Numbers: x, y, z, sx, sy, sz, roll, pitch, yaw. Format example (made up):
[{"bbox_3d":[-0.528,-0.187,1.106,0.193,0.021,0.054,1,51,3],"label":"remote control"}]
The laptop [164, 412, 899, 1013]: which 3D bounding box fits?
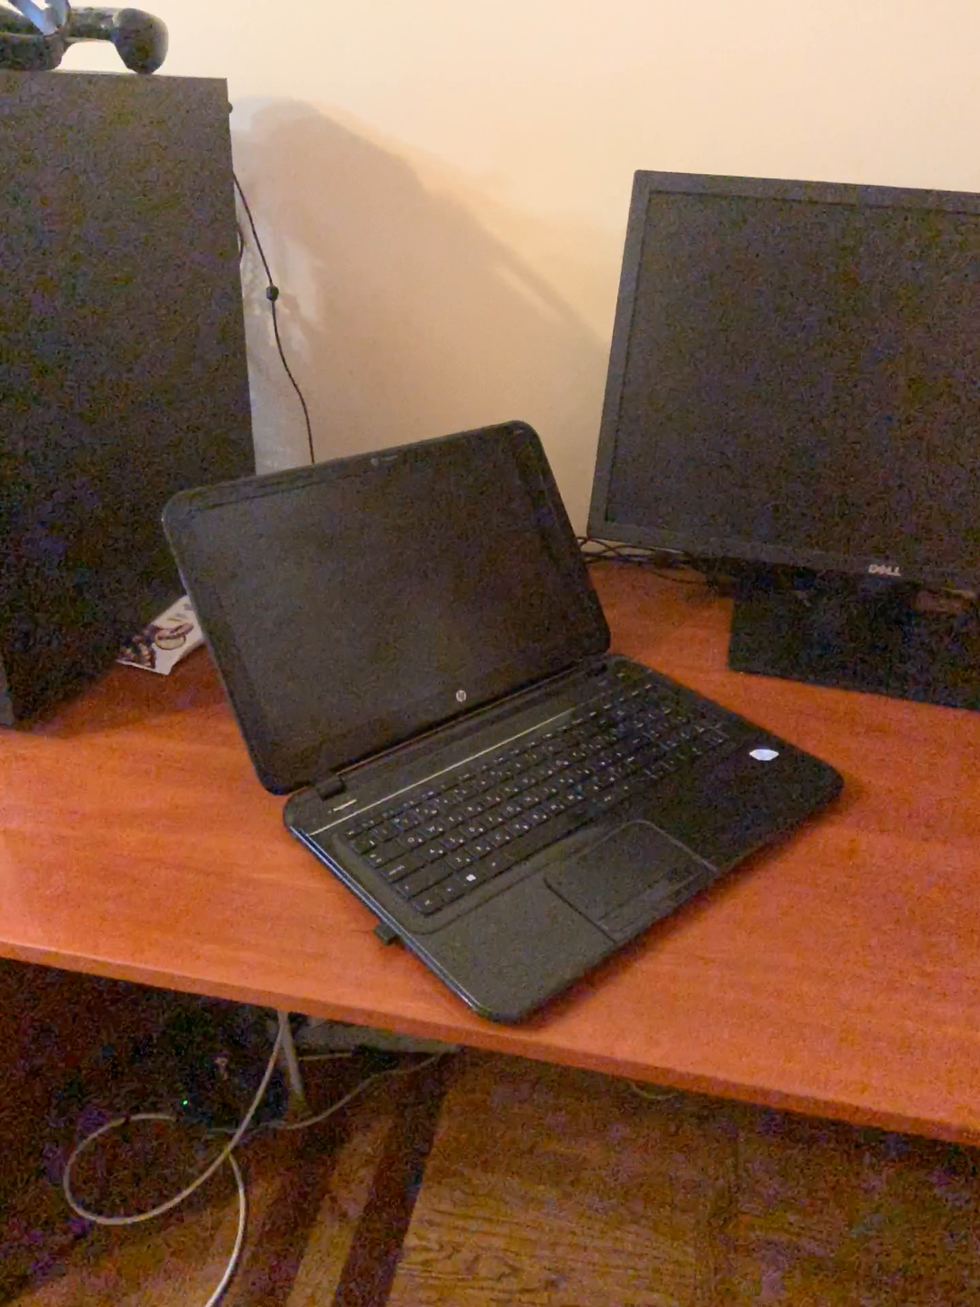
[{"bbox_3d":[0.018,-0.009,0.696,0.332,0.168,0.359,-21,39,-36],"label":"laptop"}]
